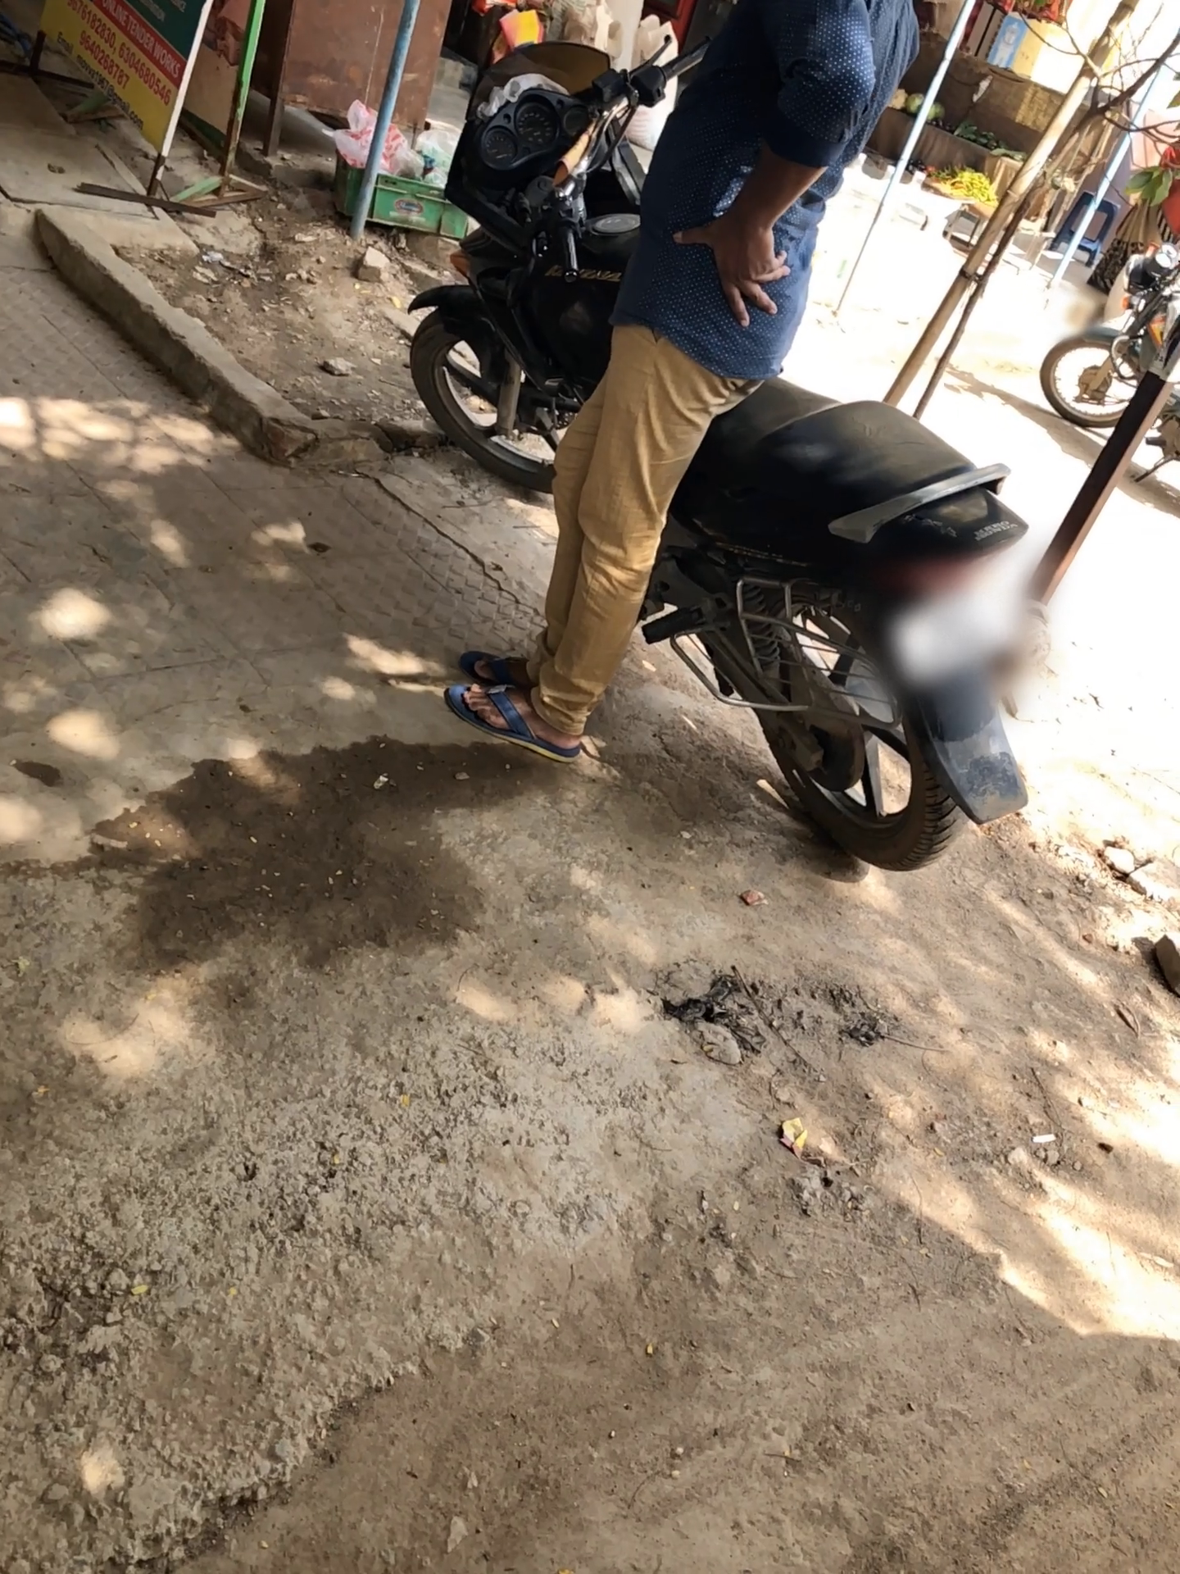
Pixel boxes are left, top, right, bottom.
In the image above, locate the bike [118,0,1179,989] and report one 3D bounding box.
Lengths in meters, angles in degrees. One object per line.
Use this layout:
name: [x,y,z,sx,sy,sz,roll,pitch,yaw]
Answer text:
bike: [-0.061,-0.791,2.400,0.801,1.176,1.894,-9,45,-38]
